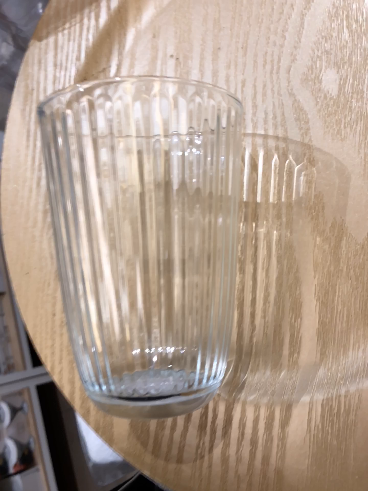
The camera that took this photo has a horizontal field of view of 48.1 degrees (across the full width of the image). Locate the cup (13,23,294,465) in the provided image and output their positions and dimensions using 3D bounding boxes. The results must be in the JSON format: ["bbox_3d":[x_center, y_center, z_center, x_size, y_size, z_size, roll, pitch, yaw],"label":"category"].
[{"bbox_3d":[-0.011,0.002,0.174,0.090,0.070,0.130,-4,84,30],"label":"cup"}]
